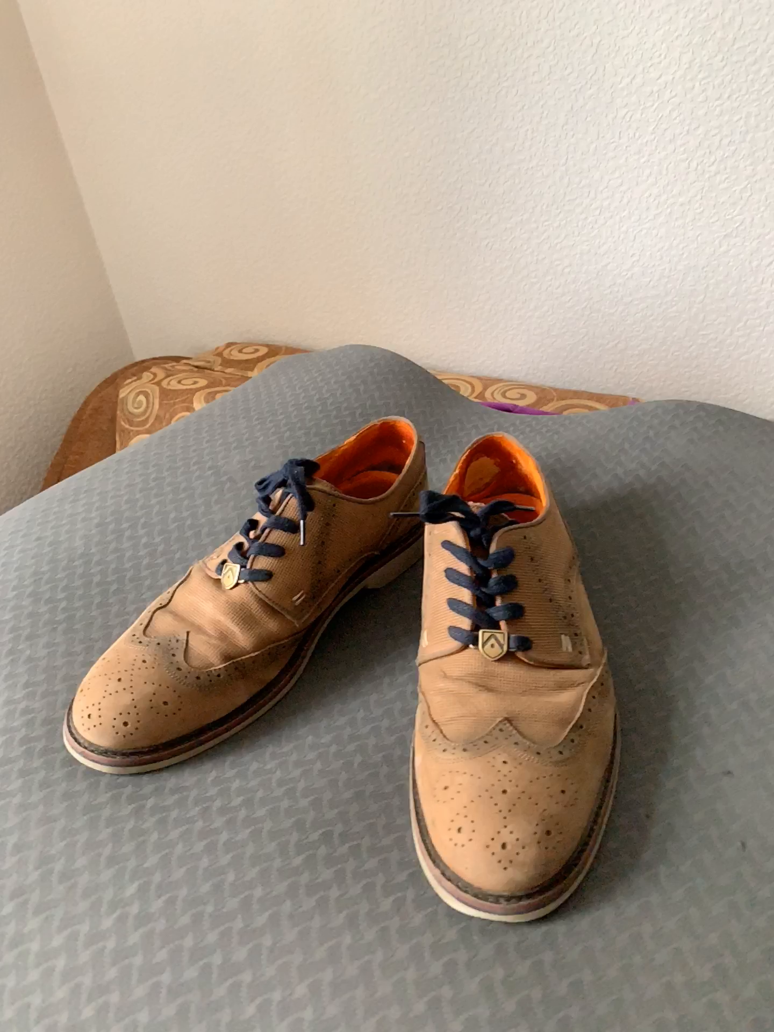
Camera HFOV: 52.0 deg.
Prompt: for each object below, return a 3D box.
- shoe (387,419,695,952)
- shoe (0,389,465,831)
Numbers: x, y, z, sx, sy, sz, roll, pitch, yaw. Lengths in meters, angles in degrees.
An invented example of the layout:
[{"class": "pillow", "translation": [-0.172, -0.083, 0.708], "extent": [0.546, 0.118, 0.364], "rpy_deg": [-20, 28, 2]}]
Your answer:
[{"class": "shoe", "translation": [0.071, 0.063, 0.431], "extent": [0.110, 0.090, 0.292], "rpy_deg": [-3, 36, 7]}, {"class": "shoe", "translation": [-0.082, 0.034, 0.508], "extent": [0.110, 0.090, 0.301], "rpy_deg": [21, 45, 34]}]
